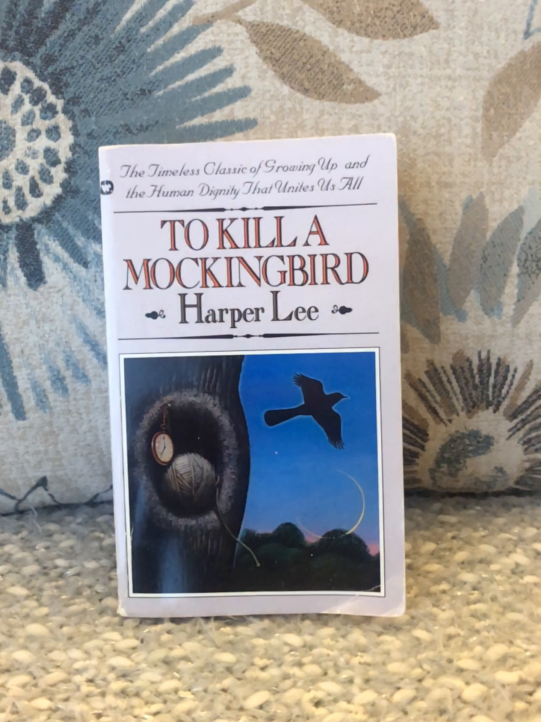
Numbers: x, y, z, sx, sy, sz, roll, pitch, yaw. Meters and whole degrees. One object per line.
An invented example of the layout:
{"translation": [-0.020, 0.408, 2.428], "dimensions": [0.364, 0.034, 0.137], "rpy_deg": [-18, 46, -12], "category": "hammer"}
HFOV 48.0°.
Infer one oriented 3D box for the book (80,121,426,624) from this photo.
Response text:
{"translation": [-0.005, 0.005, 0.221], "dimensions": [0.112, 0.166, 0.033], "rpy_deg": [-1, 2, 4], "category": "book"}
